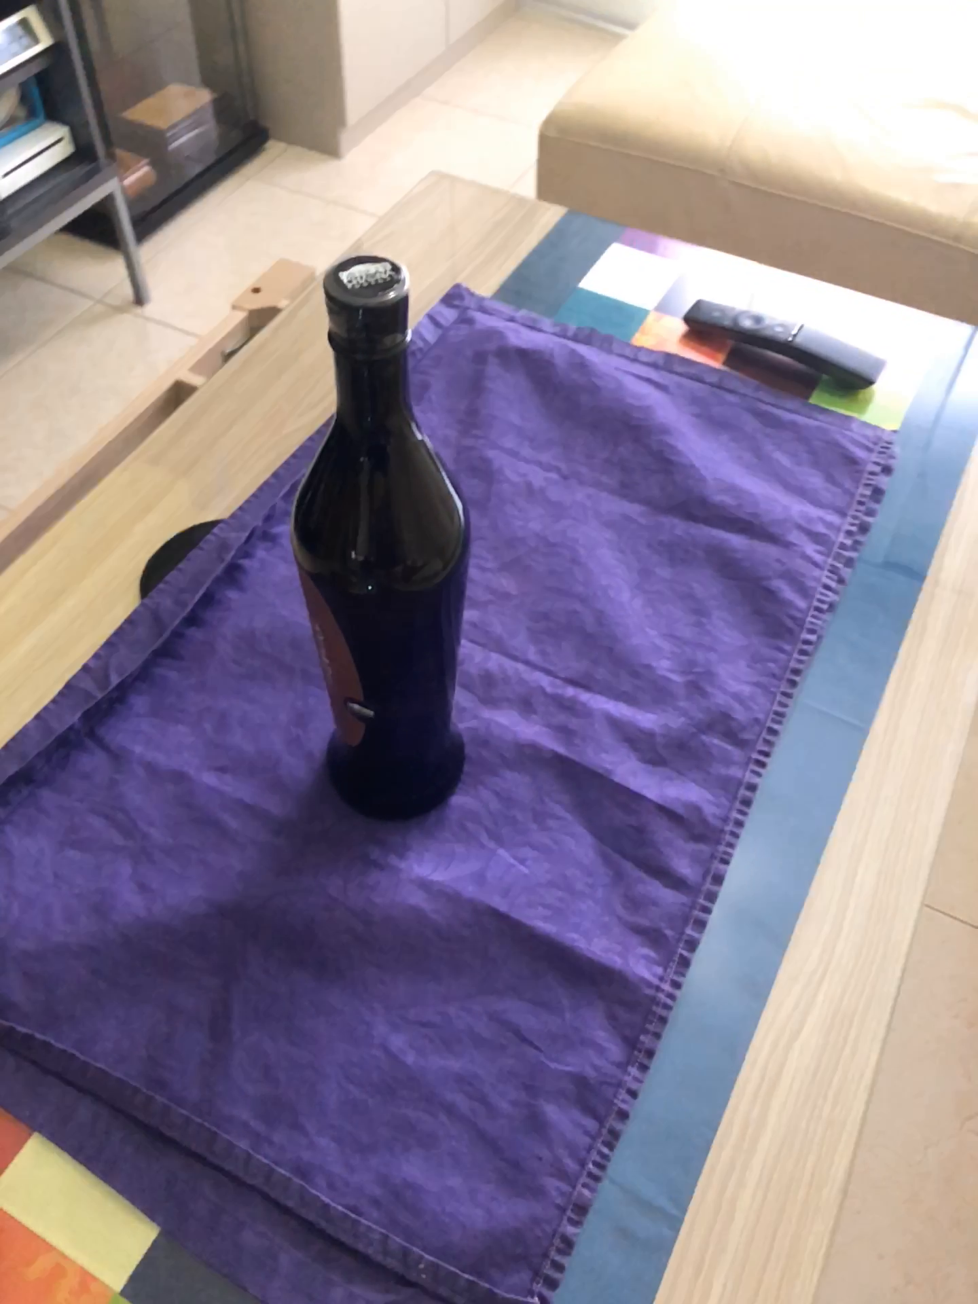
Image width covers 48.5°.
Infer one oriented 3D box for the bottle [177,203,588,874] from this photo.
[{"bbox_3d":[-0.041,-0.030,0.481,0.100,0.279,0.100,1,52,-2],"label":"bottle"}]
